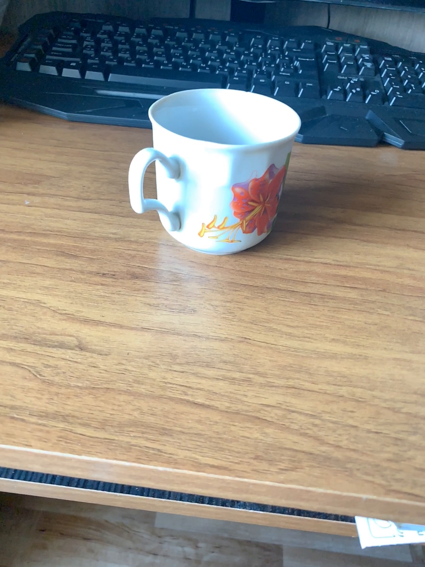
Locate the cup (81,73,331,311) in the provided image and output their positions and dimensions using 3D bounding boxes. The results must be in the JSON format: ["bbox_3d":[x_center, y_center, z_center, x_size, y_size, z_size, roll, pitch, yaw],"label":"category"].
[{"bbox_3d":[-0.001,-0.058,0.246,0.070,0.080,0.110,31,47,28],"label":"cup"}]
